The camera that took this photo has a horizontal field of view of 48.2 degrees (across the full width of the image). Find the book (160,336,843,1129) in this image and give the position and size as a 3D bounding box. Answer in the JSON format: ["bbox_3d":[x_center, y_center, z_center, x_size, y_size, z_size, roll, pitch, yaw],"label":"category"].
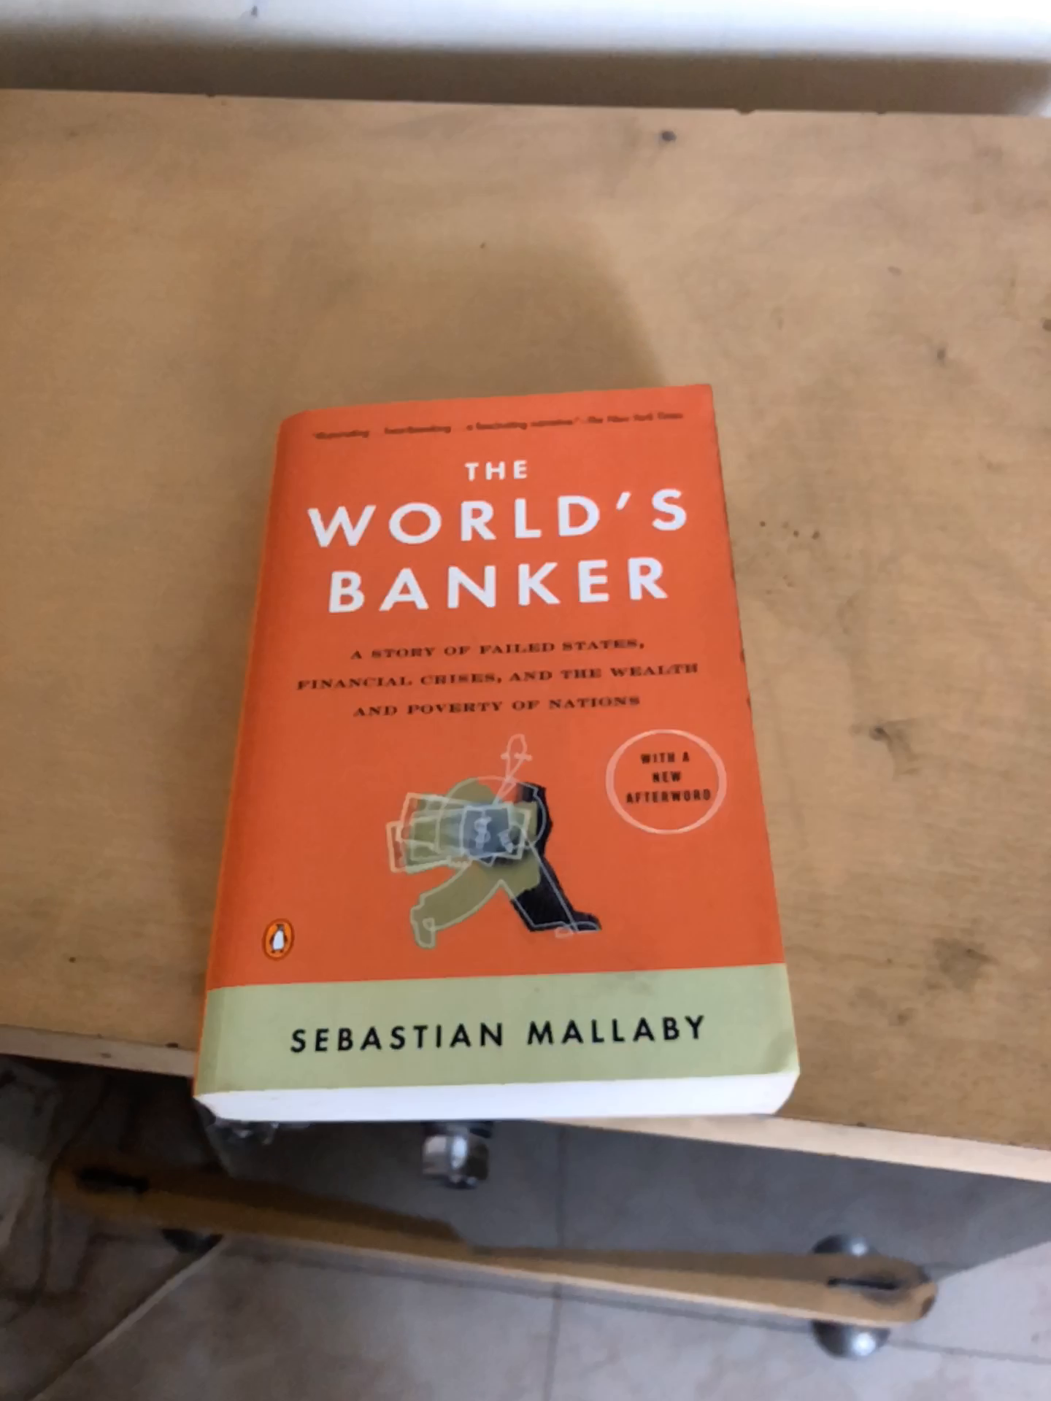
[{"bbox_3d":[-0.005,-0.006,0.311,0.140,0.030,0.220,-2,59,2],"label":"book"}]
